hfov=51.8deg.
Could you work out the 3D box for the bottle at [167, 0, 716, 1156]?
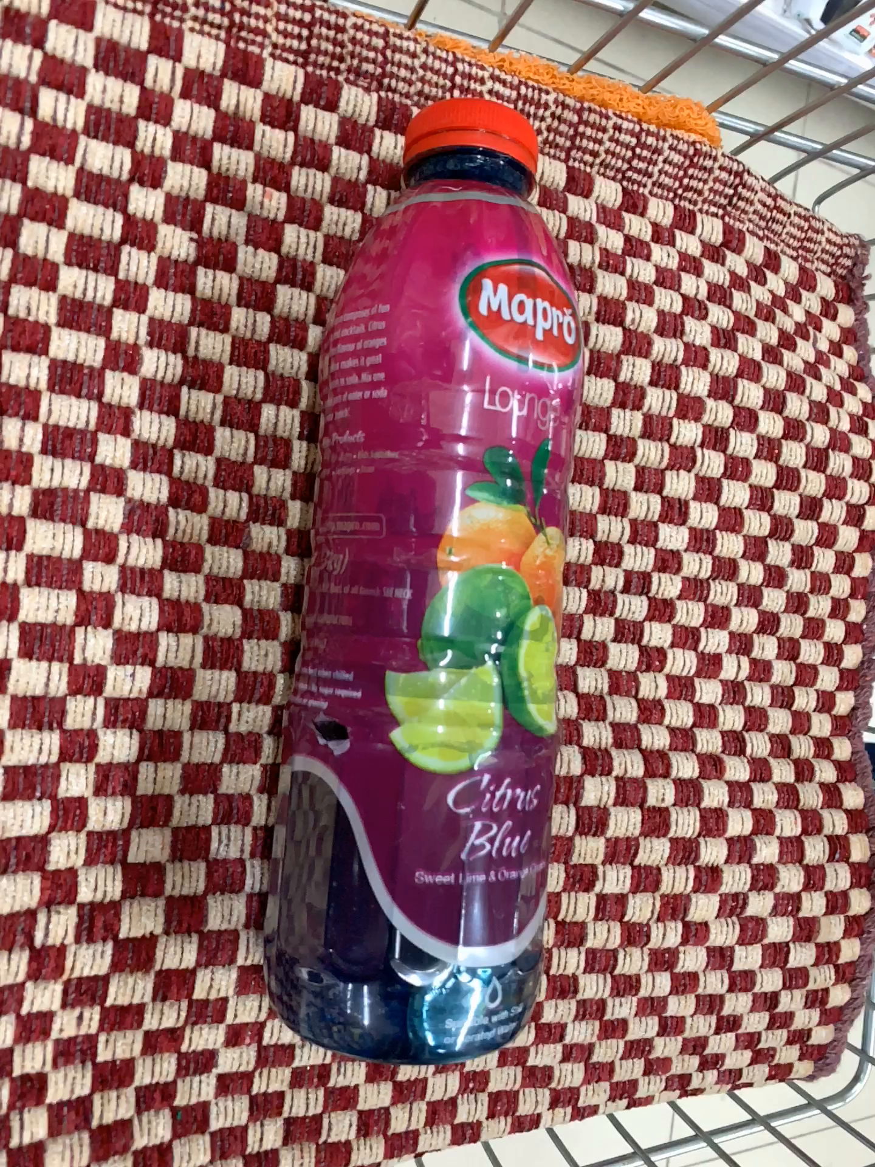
[{"bbox_3d":[-0.001,0.000,0.243,0.090,0.070,0.250,7,92,-35],"label":"bottle"}]
